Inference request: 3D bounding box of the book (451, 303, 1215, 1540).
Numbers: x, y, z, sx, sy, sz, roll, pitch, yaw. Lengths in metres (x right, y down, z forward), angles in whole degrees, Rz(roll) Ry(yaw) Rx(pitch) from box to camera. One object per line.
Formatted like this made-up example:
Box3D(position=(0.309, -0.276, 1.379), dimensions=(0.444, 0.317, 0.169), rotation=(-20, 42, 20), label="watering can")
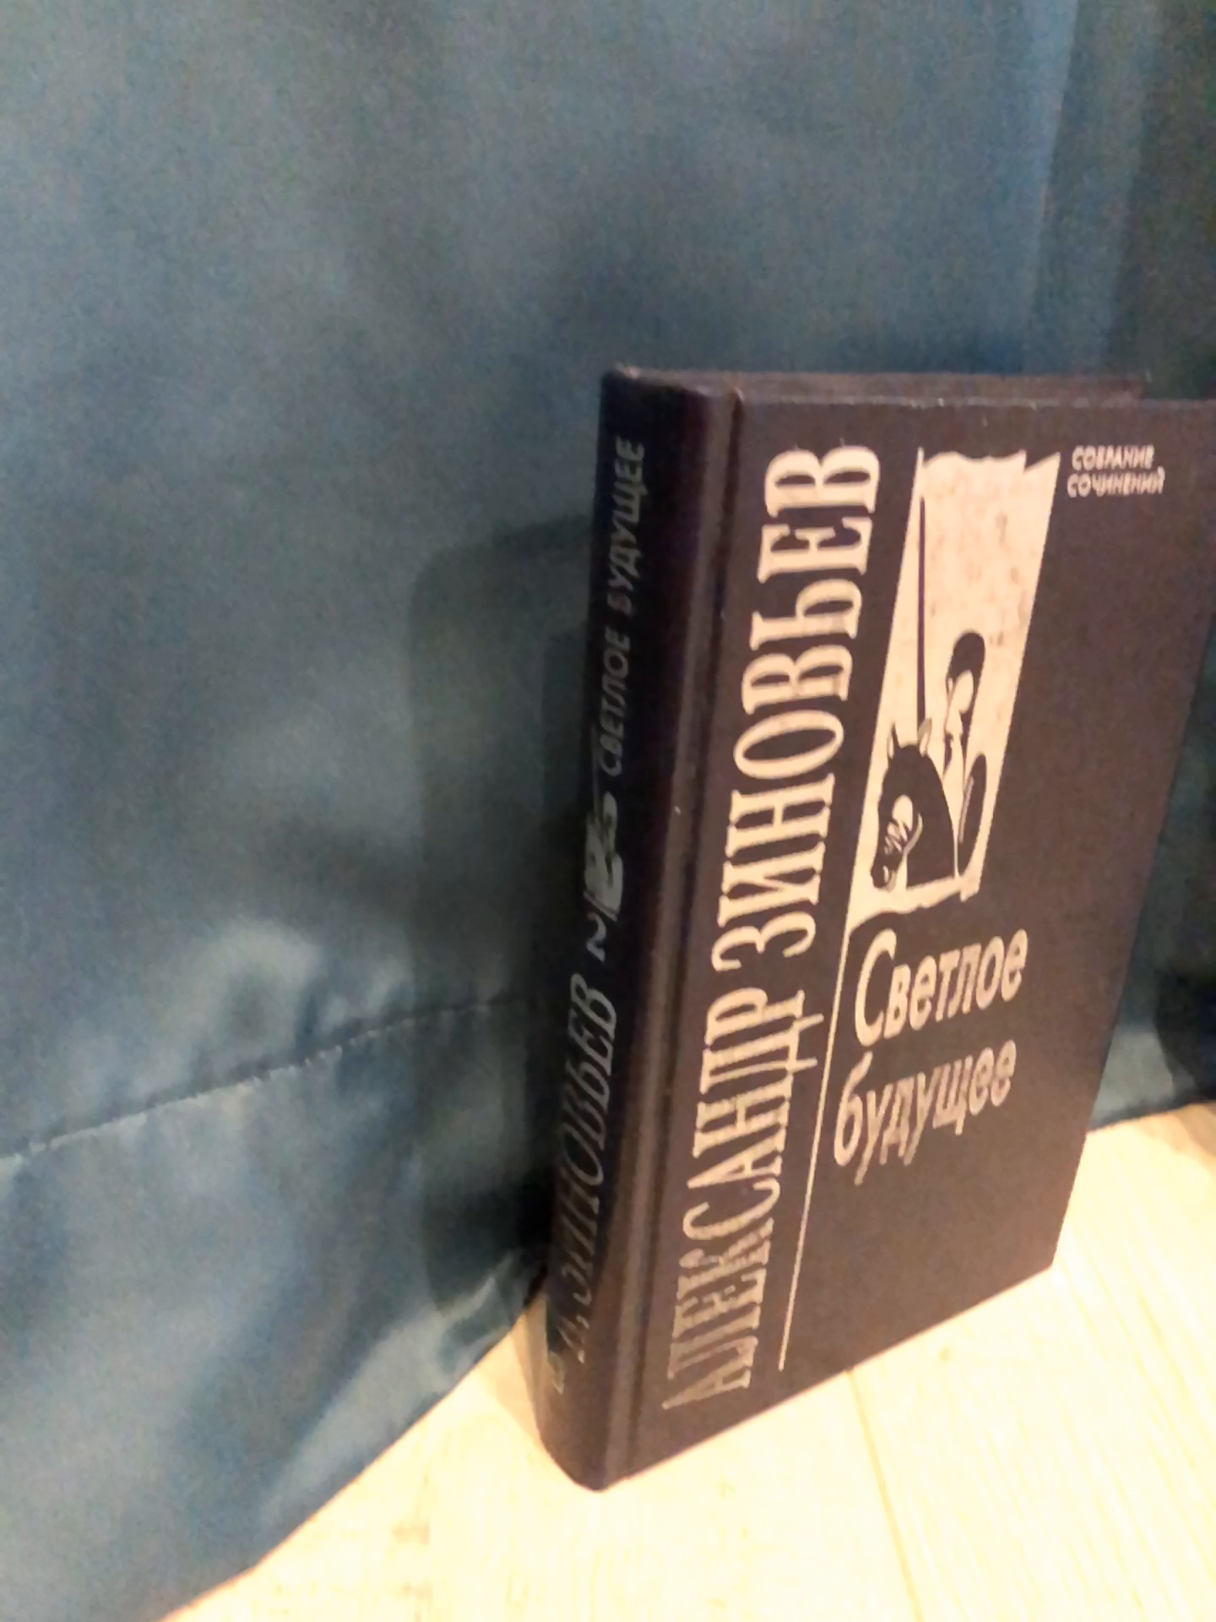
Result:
Box3D(position=(0.049, 0.015, 0.254), dimensions=(0.150, 0.199, 0.040), rotation=(-10, 25, -33), label="book")
